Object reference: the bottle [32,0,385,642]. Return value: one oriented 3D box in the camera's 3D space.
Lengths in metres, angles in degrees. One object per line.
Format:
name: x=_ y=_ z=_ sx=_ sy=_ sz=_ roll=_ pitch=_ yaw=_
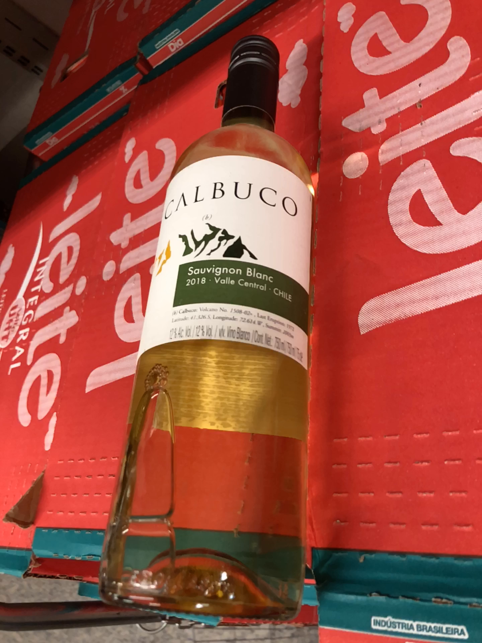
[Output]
bottle: x=0.001 y=-0.034 z=0.241 sx=0.090 sy=0.100 sz=0.291 roll=2 pitch=66 yaw=3
